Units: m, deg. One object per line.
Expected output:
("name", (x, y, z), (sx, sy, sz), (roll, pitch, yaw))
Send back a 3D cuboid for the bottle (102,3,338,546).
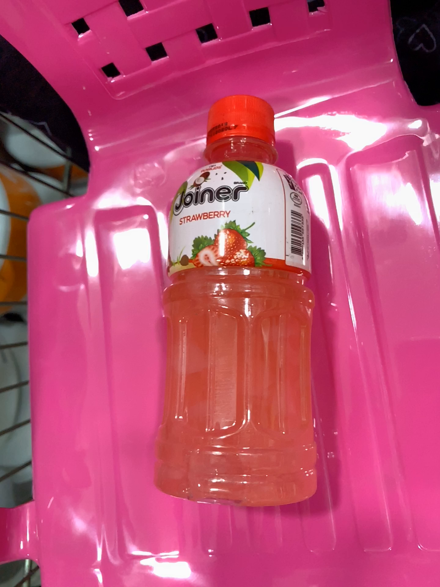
("bottle", (0.006, -0.006, 0.177), (0.070, 0.070, 0.160), (-2, 83, 16))
